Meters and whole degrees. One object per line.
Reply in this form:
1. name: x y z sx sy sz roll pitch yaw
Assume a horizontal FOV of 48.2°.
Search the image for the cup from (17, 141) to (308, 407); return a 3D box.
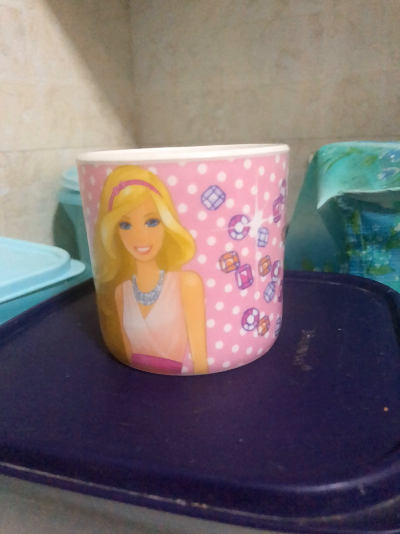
1. cup: -0.001 -0.012 0.201 0.080 0.080 0.120 4 17 21
